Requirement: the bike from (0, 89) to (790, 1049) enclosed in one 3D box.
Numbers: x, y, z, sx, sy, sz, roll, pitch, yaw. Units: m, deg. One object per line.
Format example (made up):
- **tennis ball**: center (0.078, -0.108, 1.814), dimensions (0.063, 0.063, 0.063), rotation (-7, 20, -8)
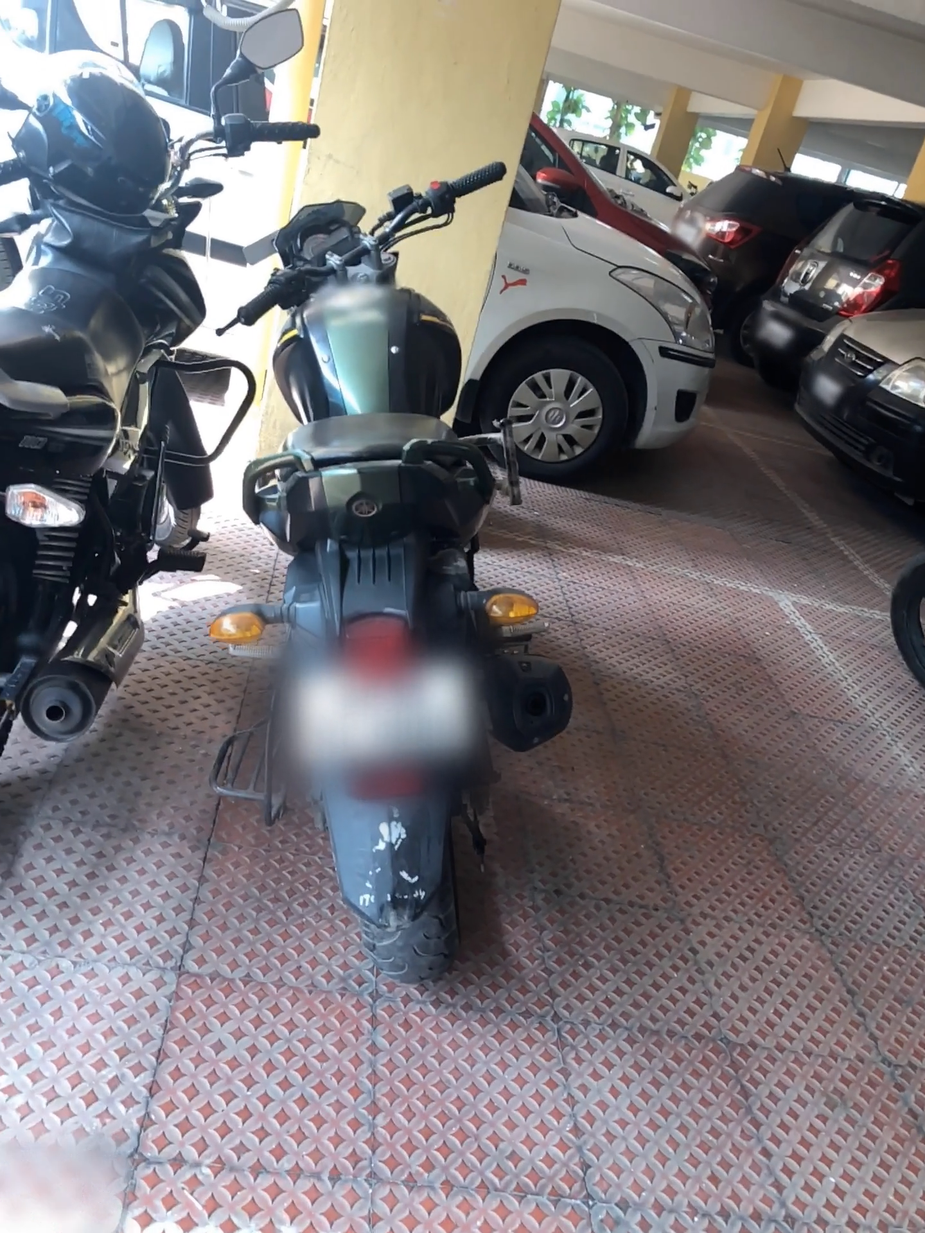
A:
- **bike**: center (-0.337, -0.294, 1.966), dimensions (0.739, 1.091, 1.816), rotation (9, 24, -16)
